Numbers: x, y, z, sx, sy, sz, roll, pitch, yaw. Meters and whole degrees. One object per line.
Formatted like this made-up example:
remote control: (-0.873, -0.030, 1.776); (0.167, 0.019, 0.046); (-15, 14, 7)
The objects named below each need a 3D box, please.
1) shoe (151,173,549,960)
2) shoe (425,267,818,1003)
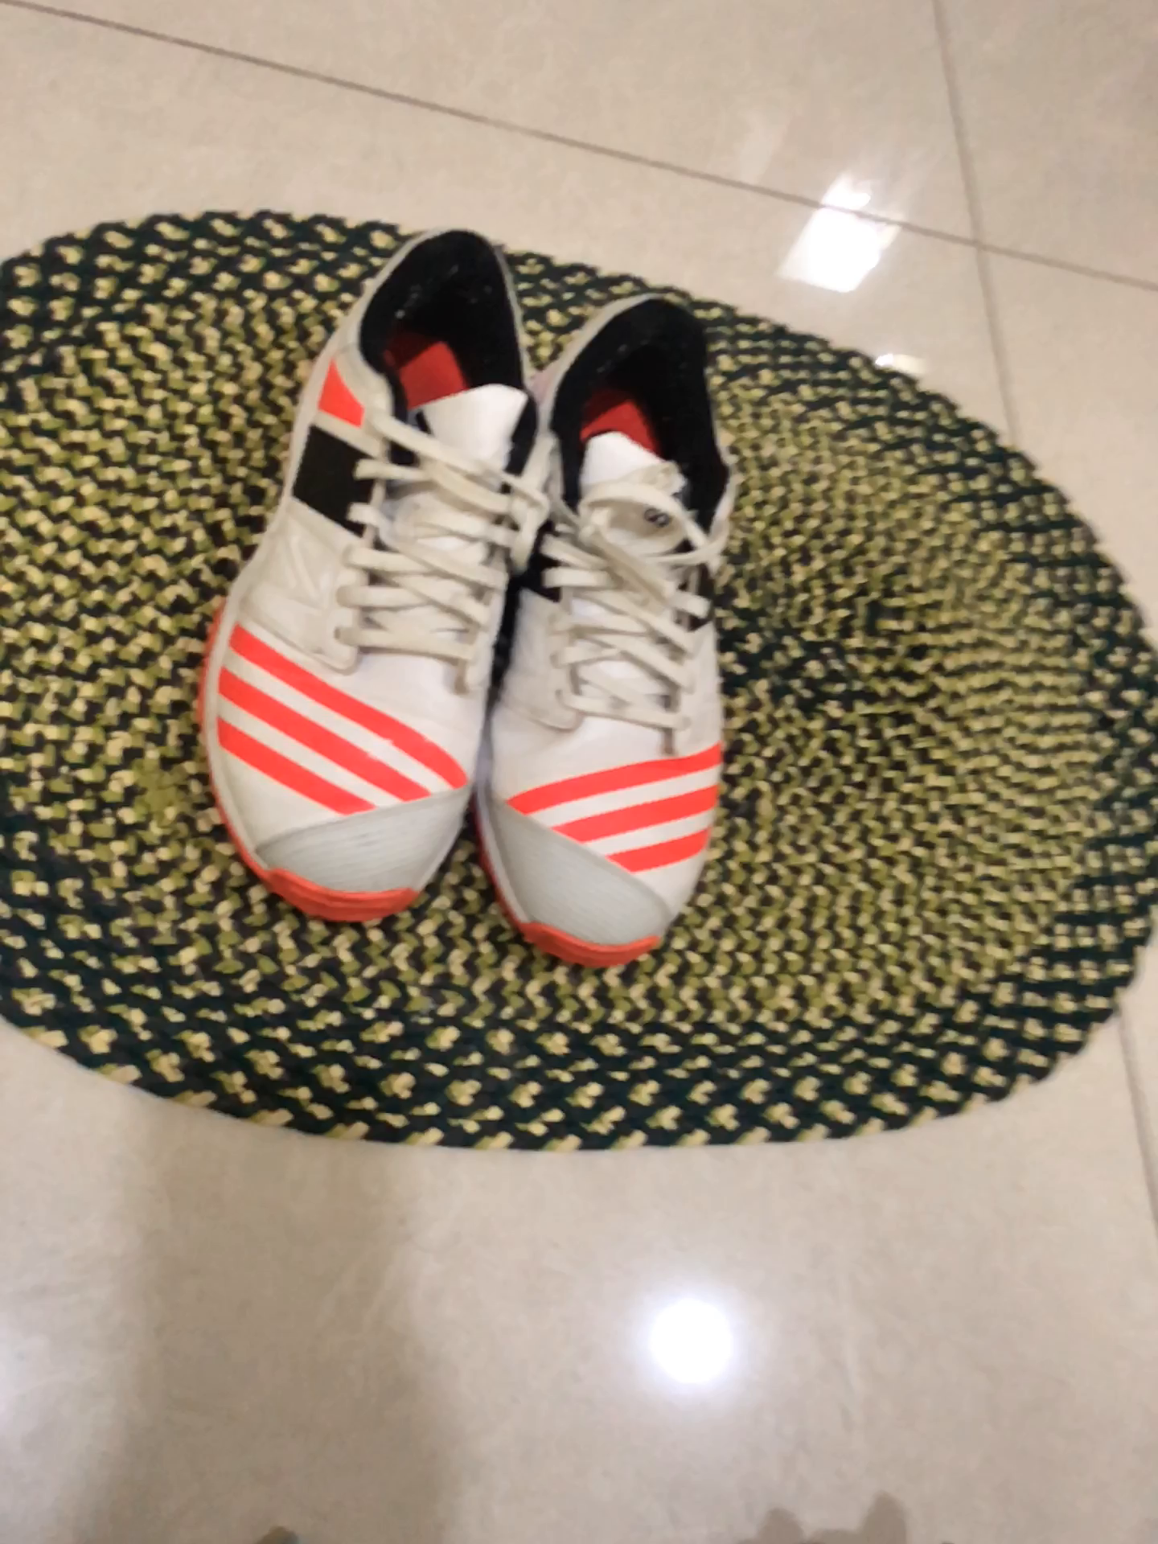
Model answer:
shoe: (-0.083, -0.077, 0.482); (0.100, 0.090, 0.270); (11, 67, -16)
shoe: (0.019, -0.050, 0.494); (0.110, 0.100, 0.250); (11, 67, -16)
